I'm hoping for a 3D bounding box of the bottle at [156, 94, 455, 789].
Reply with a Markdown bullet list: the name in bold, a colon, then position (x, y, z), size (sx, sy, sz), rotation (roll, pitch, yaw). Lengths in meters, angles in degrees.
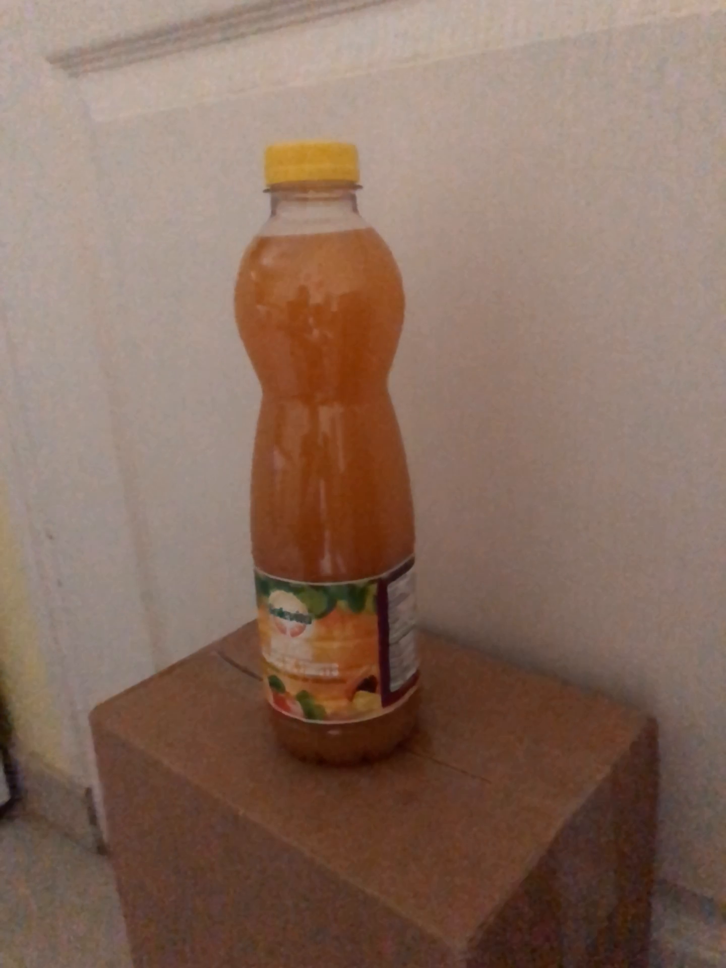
- **bottle**: position (-0.014, -0.014, 0.358), size (0.080, 0.279, 0.080), rotation (-3, 20, 1)
